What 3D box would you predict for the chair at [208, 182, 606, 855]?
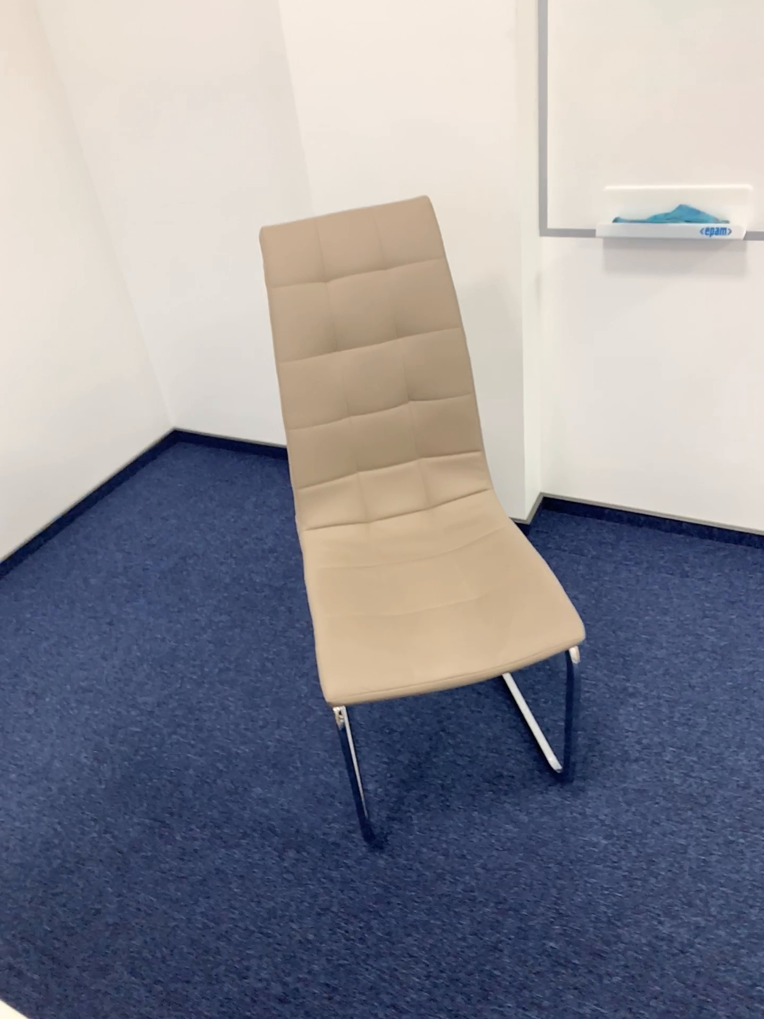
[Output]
[{"bbox_3d":[0.048,0.032,1.384,0.440,0.985,0.533,-13,35,-7],"label":"chair"}]
